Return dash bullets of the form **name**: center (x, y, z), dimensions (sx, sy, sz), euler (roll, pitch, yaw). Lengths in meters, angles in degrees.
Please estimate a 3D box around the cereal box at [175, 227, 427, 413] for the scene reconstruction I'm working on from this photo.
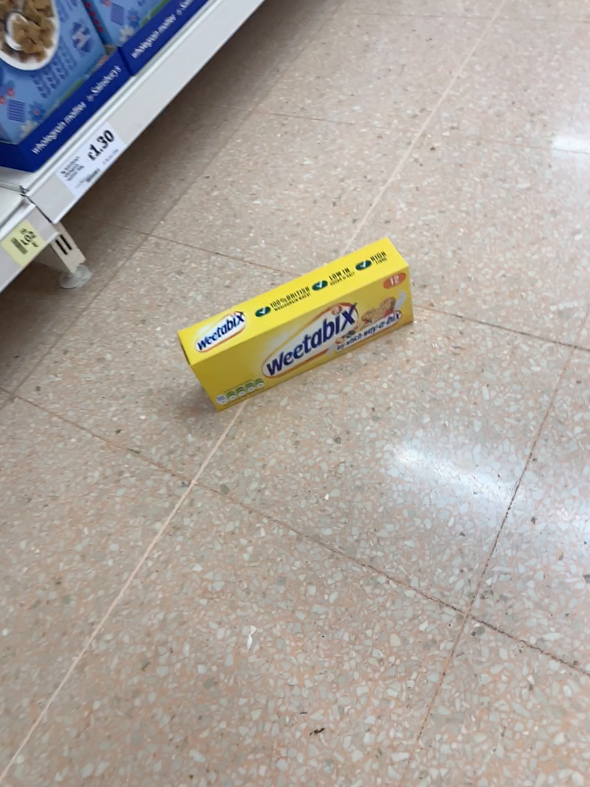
- **cereal box**: center (0.012, -0.077, 0.661), dimensions (0.260, 0.099, 0.050), euler (-24, 54, -1)
